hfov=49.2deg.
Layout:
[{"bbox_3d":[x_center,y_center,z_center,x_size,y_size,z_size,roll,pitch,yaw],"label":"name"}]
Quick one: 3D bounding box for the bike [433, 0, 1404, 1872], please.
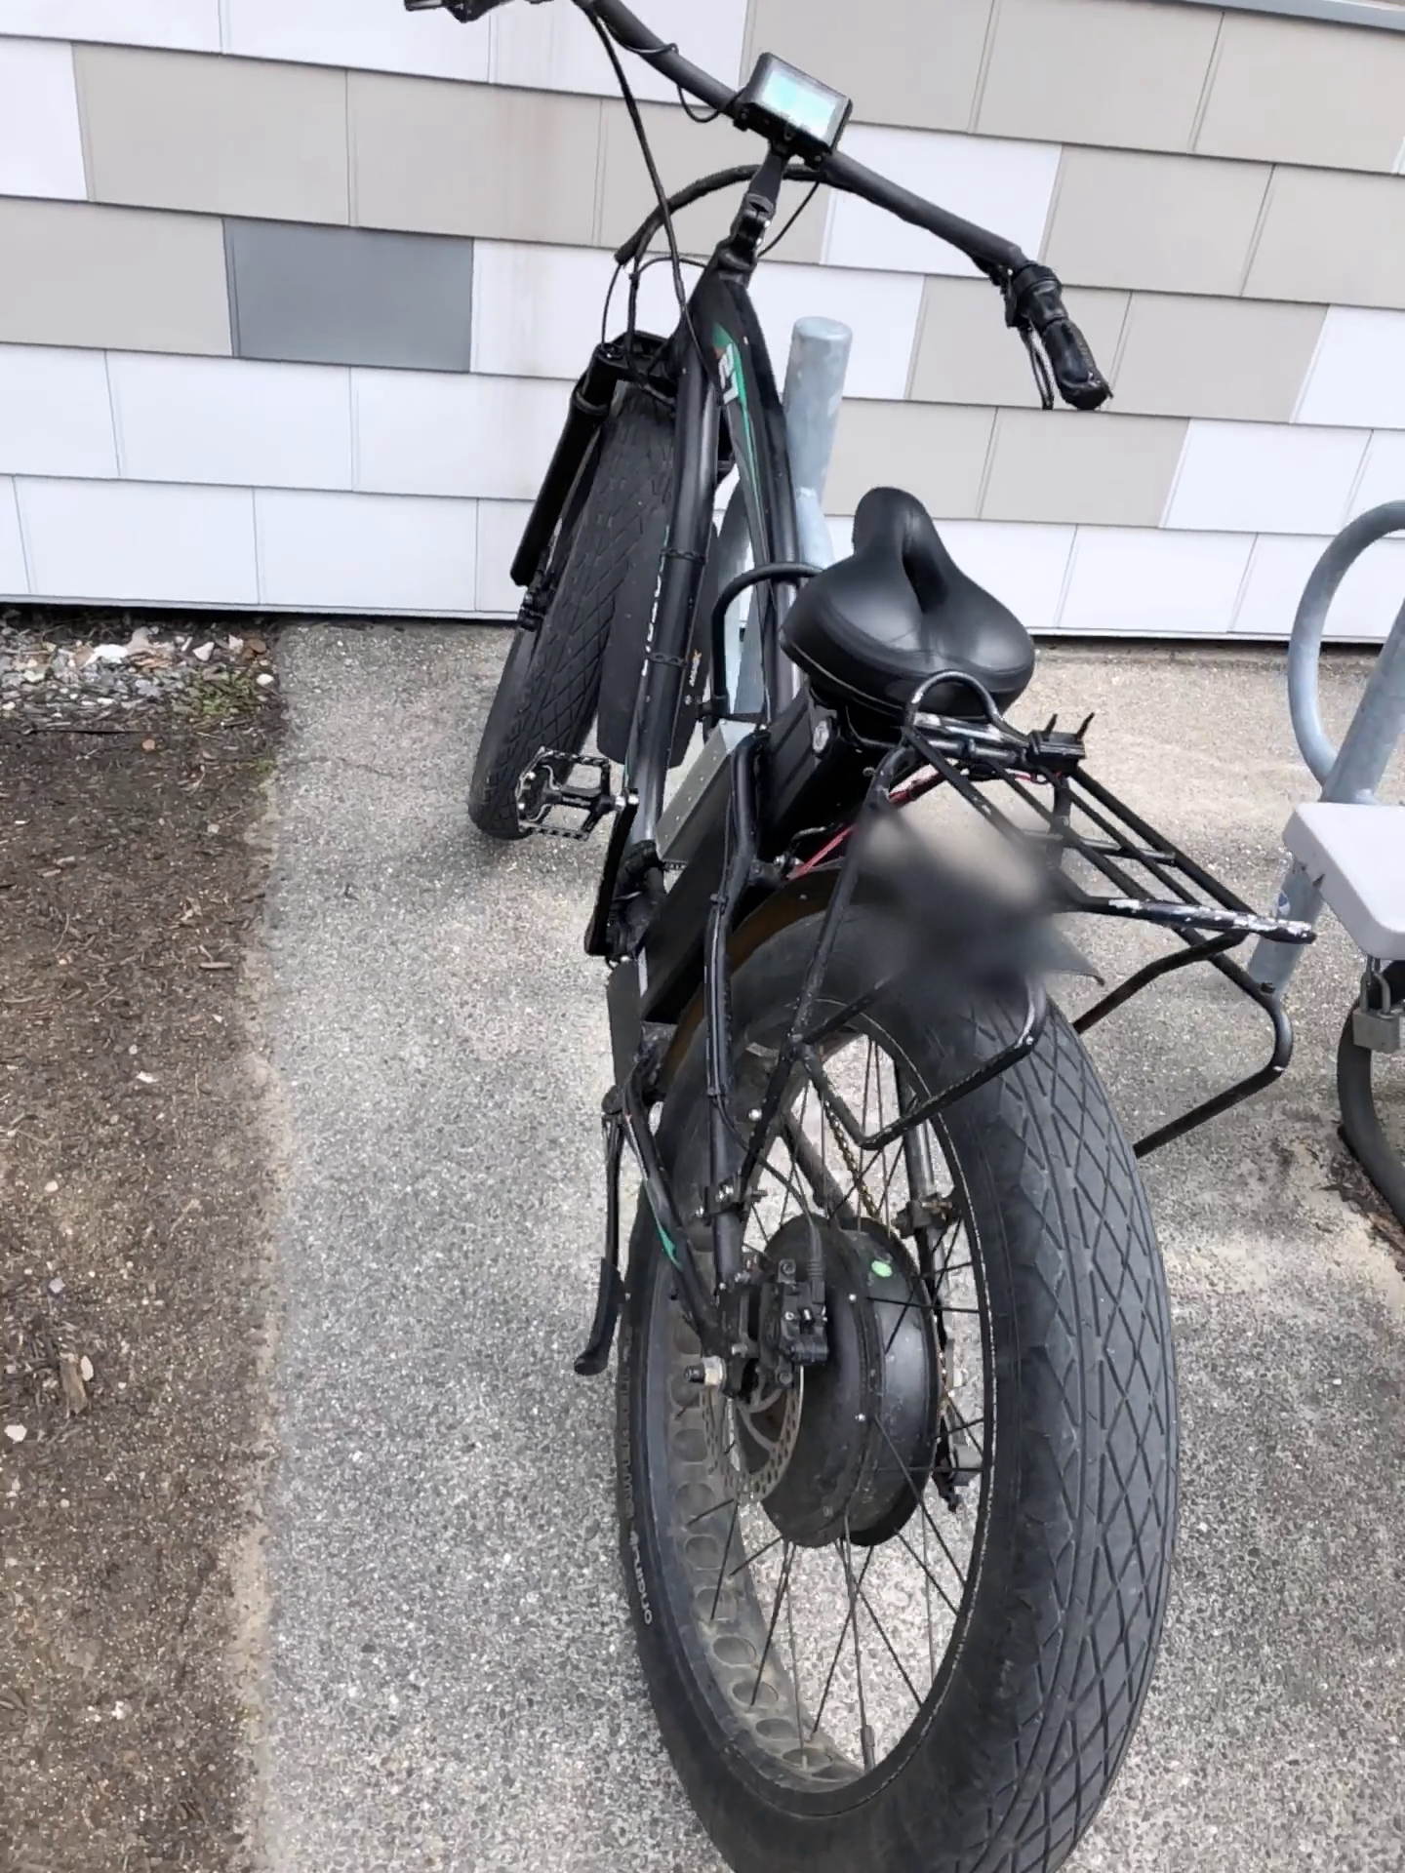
[{"bbox_3d":[0.185,-0.303,1.653,0.877,1.170,2.125,-1,41,-12],"label":"bike"}]
